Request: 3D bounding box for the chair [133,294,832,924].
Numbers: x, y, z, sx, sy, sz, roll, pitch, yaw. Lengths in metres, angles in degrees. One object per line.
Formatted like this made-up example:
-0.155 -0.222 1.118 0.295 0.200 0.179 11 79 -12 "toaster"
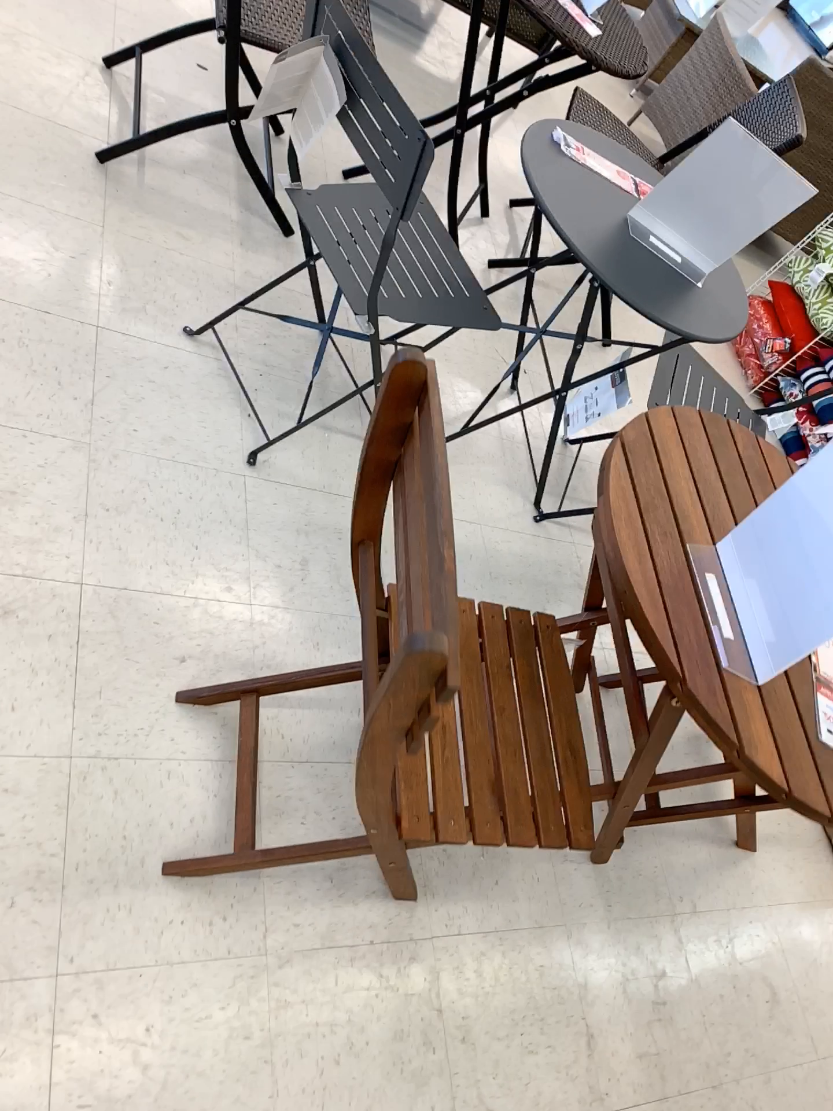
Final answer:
0.028 0.174 1.123 0.552 0.776 0.441 13 54 -29 "chair"
